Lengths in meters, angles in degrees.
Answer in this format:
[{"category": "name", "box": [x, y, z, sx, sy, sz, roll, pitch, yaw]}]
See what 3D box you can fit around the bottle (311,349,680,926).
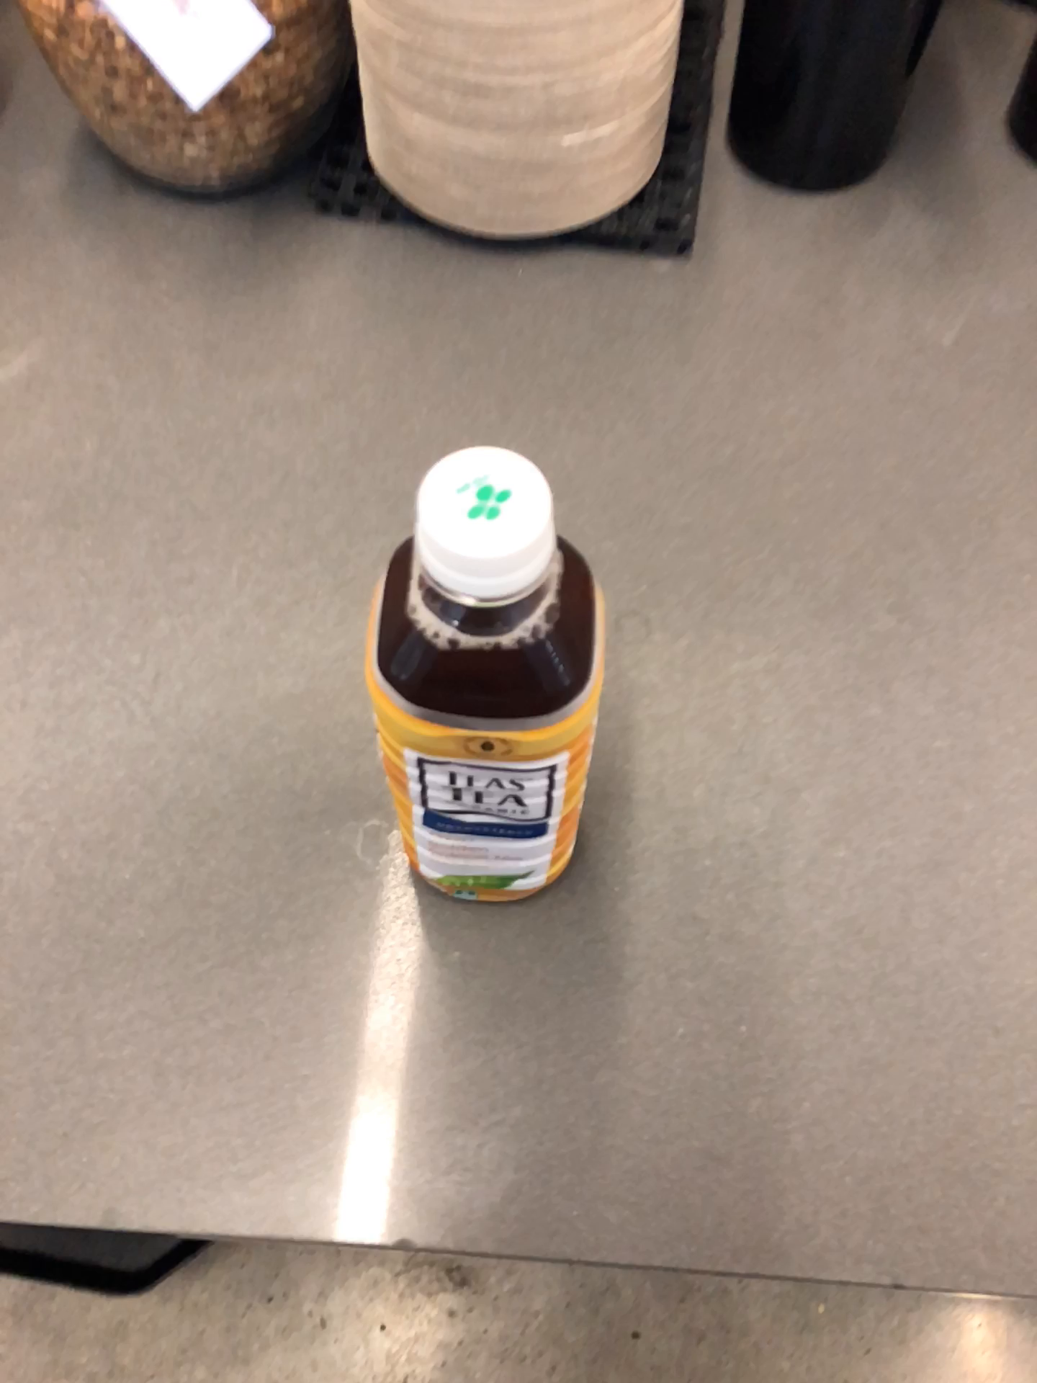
[{"category": "bottle", "box": [-0.006, 0.003, 0.320, 0.070, 0.200, 0.070, 0, 62, -1]}]
